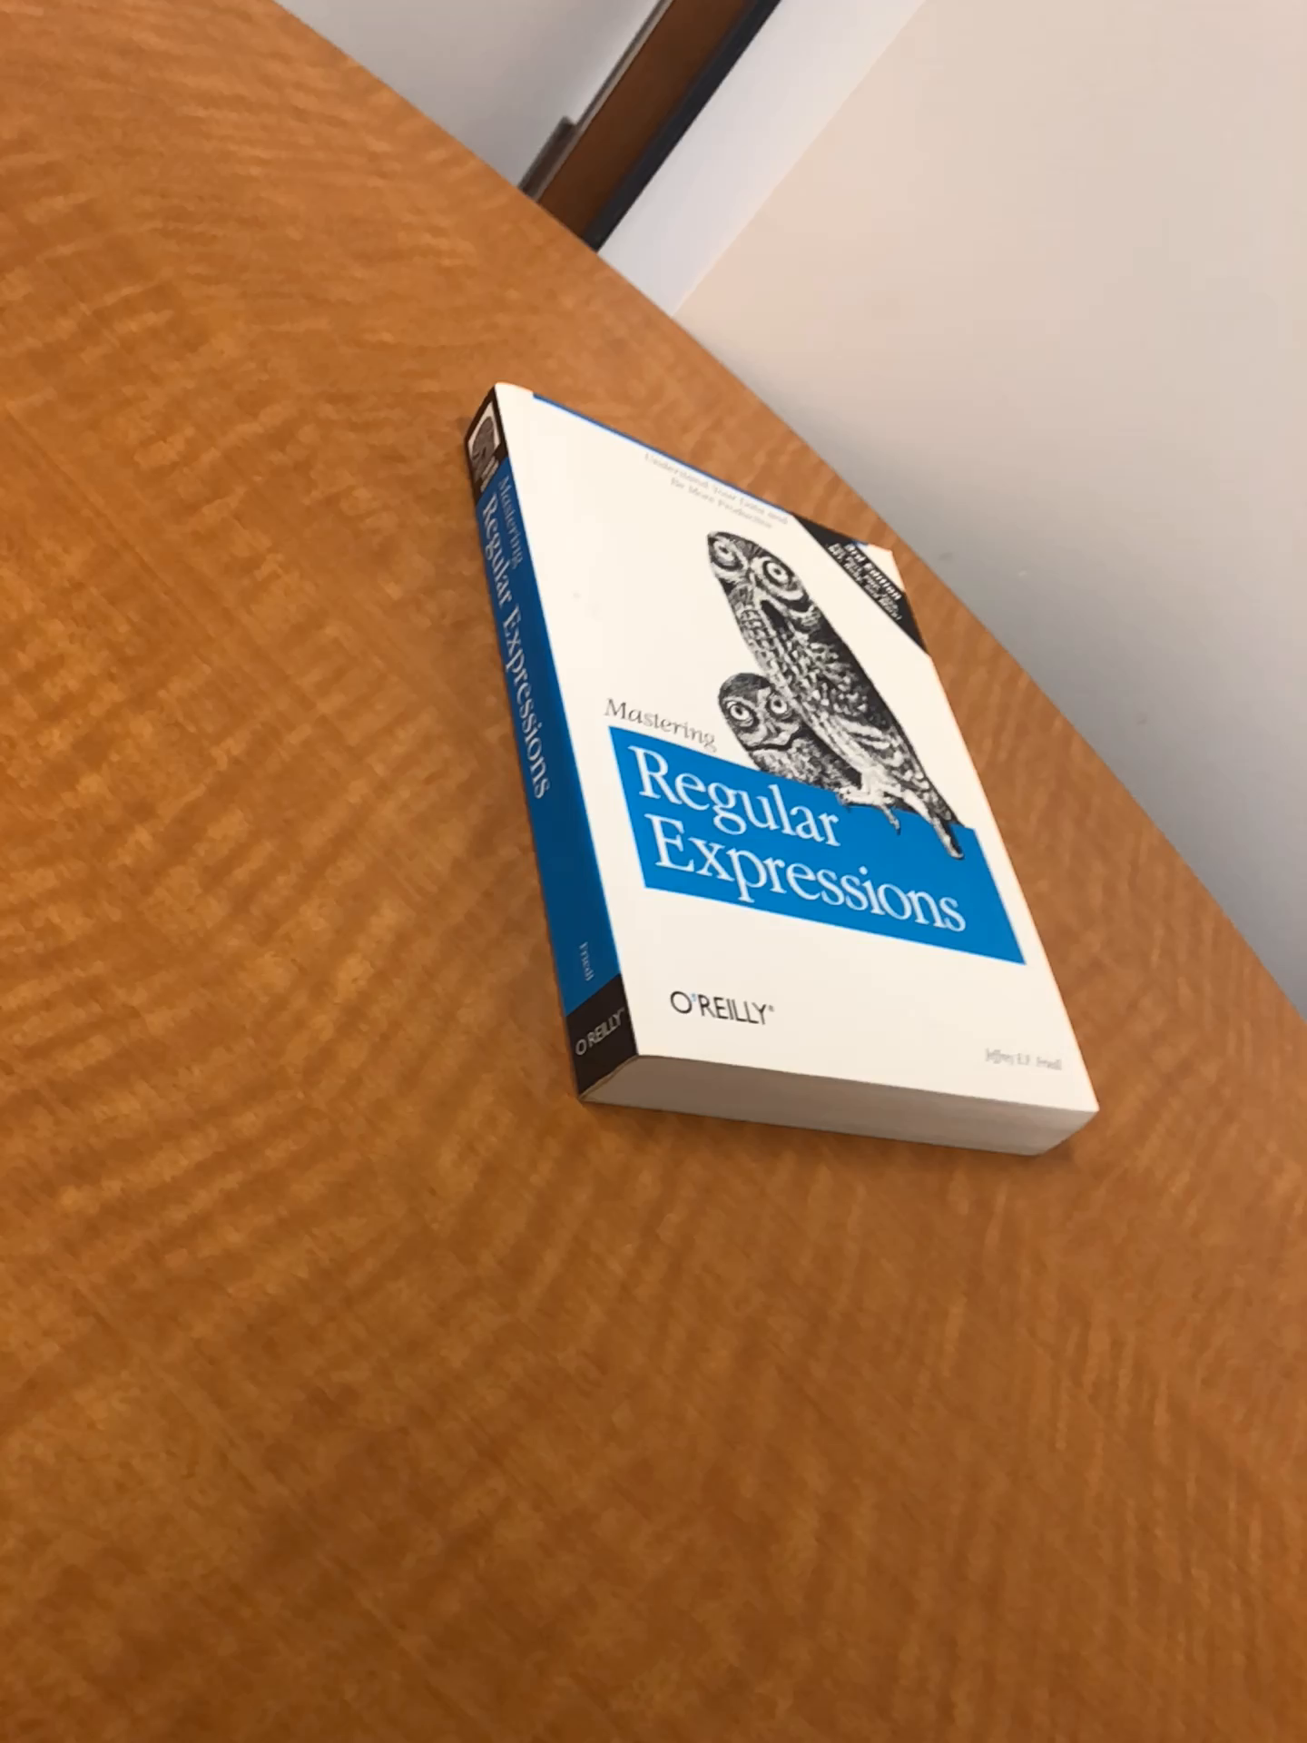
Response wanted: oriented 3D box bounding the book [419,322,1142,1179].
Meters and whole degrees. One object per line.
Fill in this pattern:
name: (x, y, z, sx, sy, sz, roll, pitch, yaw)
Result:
book: (0.036, -0.038, 0.465, 0.201, 0.040, 0.261, 14, 50, -37)
